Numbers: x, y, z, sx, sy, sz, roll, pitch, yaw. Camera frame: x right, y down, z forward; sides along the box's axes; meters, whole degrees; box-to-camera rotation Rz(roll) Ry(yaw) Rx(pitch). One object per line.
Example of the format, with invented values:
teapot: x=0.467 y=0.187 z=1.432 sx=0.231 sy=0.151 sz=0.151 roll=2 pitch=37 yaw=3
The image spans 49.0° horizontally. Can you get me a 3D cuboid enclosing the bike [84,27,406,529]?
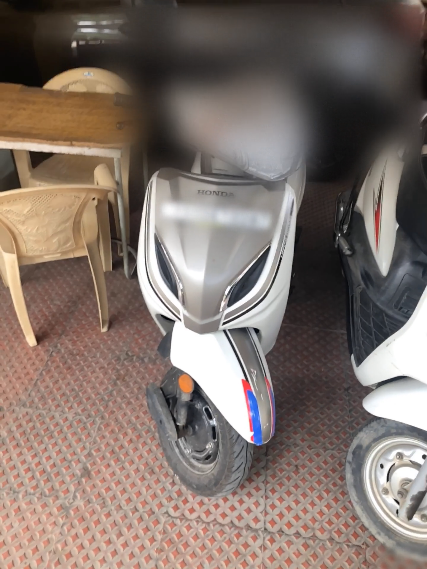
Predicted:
bike: x=0.089 y=-0.159 z=1.671 sx=0.626 sy=0.850 sz=1.464 roll=4 pitch=45 yaw=2
